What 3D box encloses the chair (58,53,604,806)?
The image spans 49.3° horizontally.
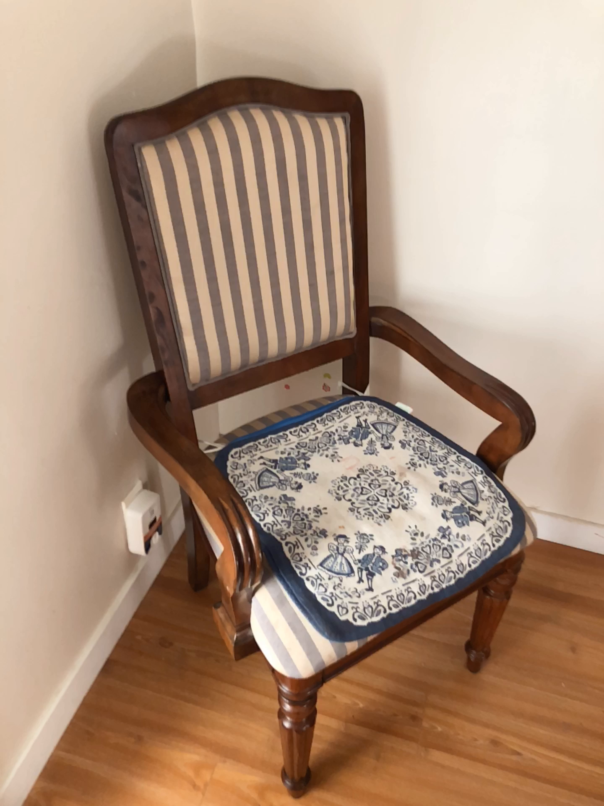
[{"bbox_3d":[0.061,0.077,1.100,0.531,1.043,0.583,-23,45,-28],"label":"chair"}]
